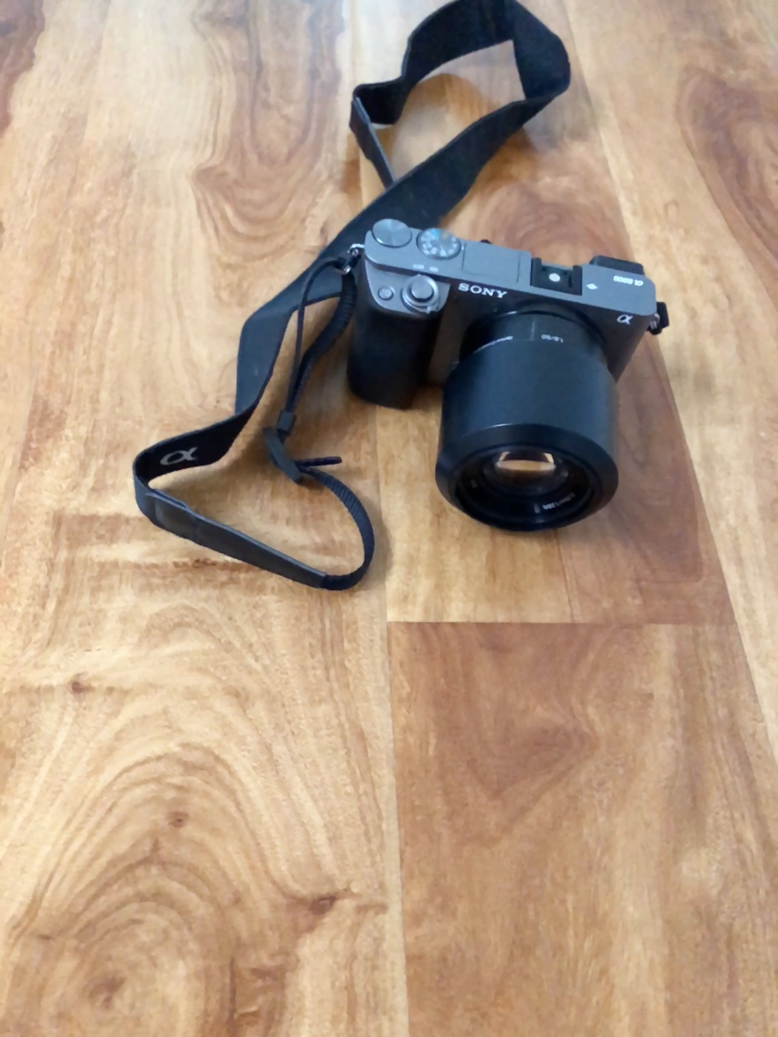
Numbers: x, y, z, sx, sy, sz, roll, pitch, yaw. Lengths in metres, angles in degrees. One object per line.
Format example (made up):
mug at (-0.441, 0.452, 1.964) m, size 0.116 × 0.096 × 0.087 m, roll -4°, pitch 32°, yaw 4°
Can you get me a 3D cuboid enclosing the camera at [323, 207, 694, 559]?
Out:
camera at (0.047, -0.057, 0.366) m, size 0.130 × 0.070 × 0.110 m, roll 9°, pitch 56°, yaw -3°
